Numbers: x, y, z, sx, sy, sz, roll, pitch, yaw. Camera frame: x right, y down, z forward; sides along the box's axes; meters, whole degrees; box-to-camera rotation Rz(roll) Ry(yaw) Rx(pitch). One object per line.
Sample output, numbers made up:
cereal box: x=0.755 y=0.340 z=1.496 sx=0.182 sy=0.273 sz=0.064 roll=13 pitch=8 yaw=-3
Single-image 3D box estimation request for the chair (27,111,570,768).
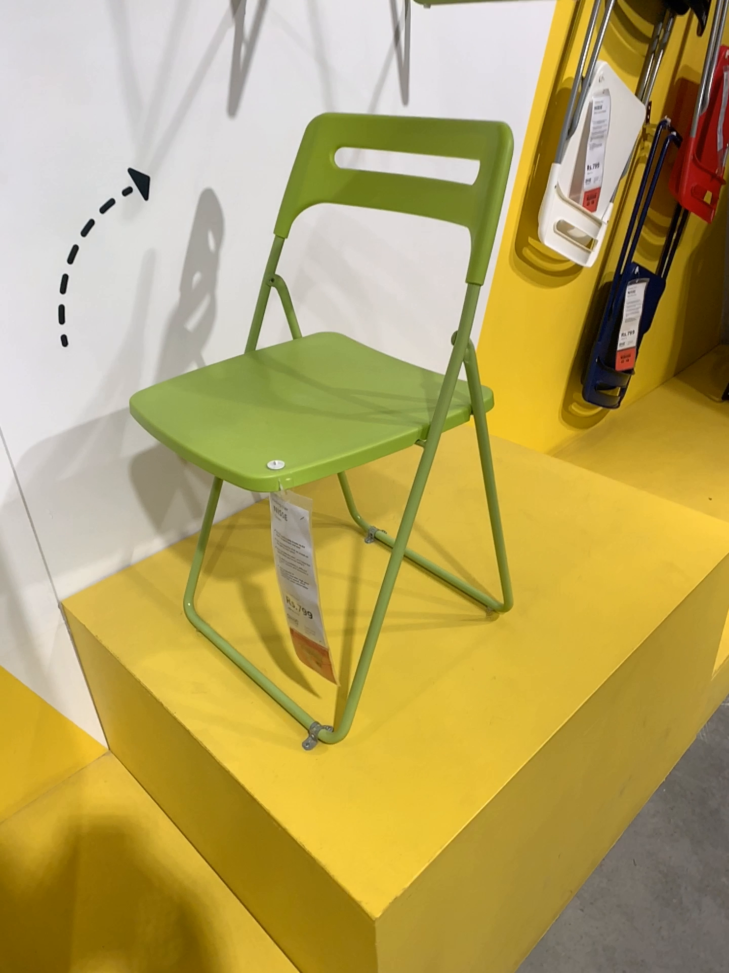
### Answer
chair: x=-0.066 y=-0.107 z=1.060 sx=0.461 sy=0.717 sz=0.451 roll=-28 pitch=39 yaw=-34
